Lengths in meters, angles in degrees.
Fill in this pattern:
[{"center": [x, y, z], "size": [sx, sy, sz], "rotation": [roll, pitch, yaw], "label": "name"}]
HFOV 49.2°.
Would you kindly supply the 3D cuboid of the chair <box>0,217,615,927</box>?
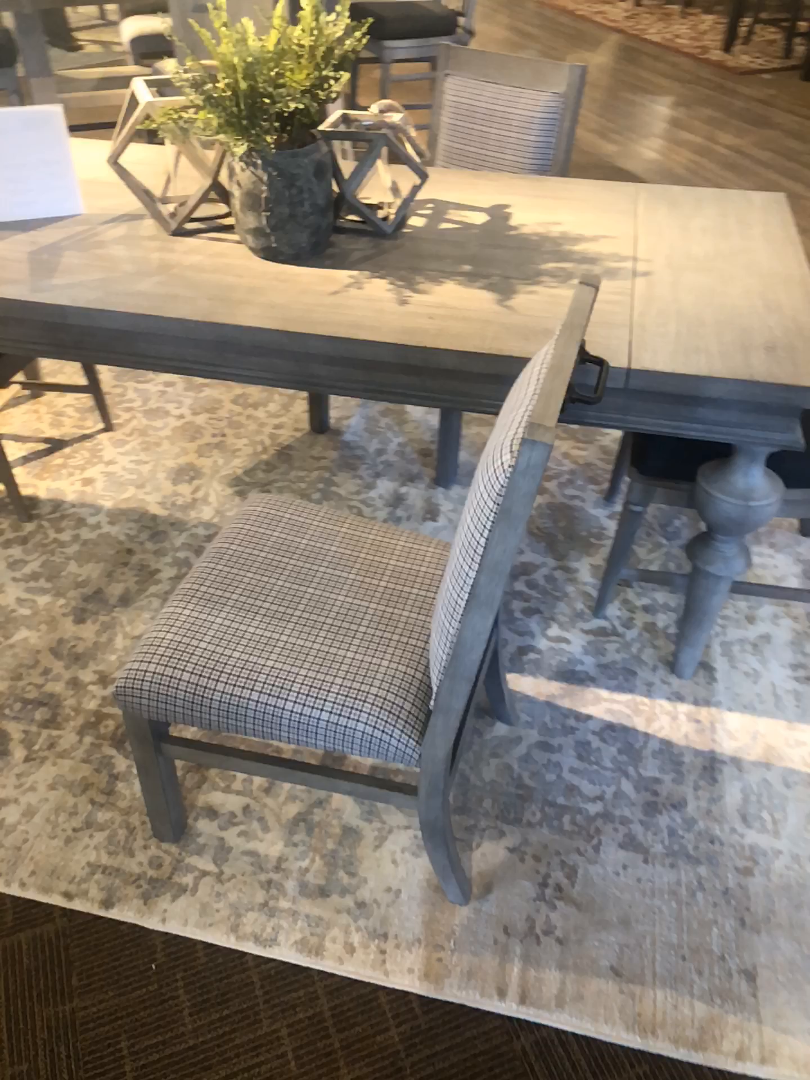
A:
[{"center": [-0.102, 0.055, 1.373], "size": [0.660, 0.866, 0.512], "rotation": [11, 40, 12], "label": "chair"}]
